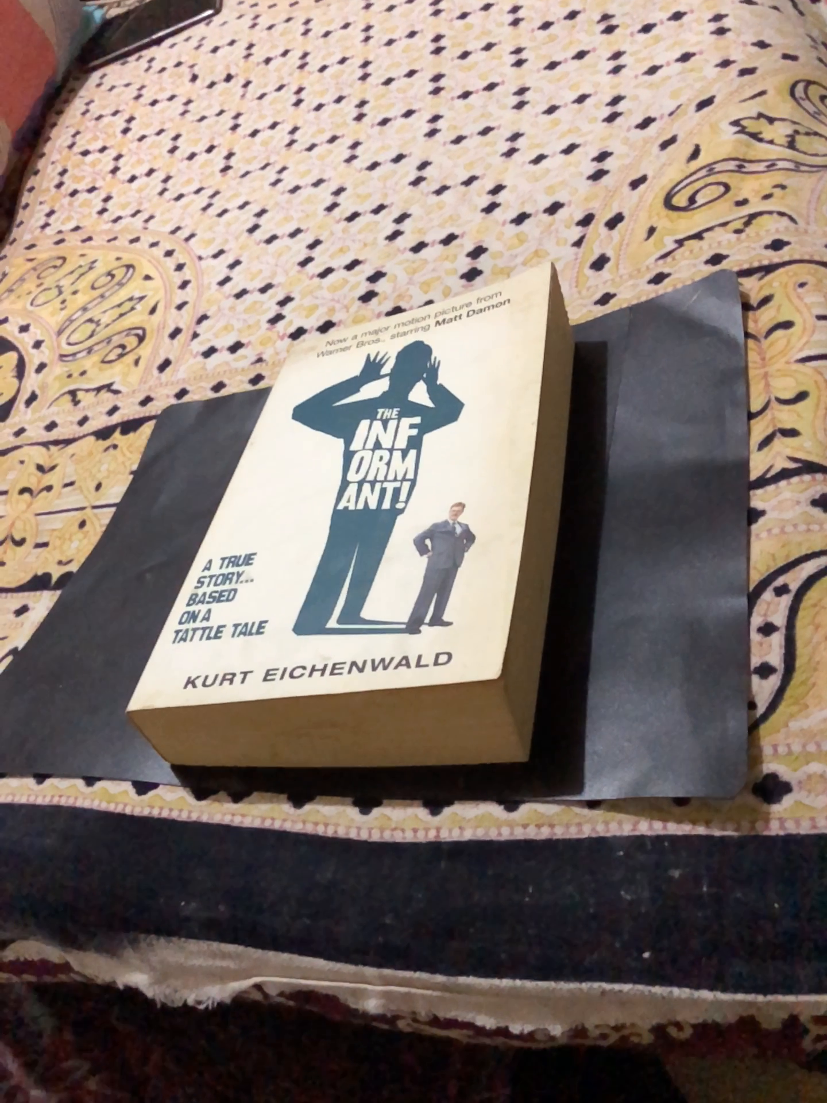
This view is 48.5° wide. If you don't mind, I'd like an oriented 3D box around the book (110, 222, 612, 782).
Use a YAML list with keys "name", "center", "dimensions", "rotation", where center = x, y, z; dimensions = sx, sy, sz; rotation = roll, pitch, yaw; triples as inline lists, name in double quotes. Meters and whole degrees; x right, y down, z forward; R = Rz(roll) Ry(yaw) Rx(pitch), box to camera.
- name: "book"
  center: [-0.004, -0.028, 0.359]
  dimensions: [0.140, 0.050, 0.230]
  rotation: [-8, 45, 25]
